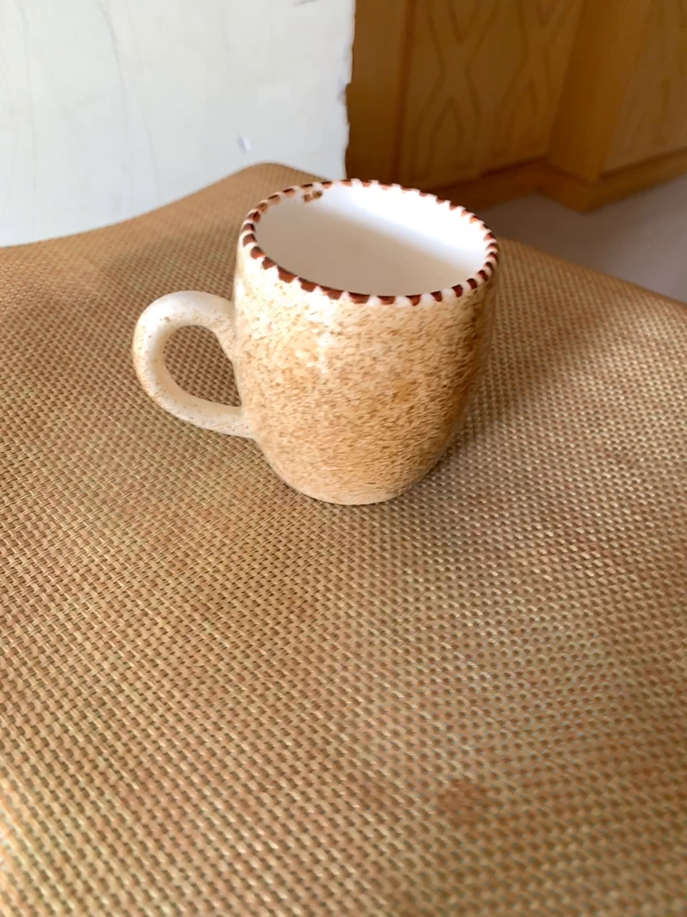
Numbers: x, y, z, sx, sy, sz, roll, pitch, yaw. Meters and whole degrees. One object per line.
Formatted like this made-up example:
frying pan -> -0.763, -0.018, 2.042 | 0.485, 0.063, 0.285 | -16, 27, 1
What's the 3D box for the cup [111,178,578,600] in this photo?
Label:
cup -> -0.006, -0.021, 0.185 | 0.090, 0.069, 0.071 | -8, 45, -12
